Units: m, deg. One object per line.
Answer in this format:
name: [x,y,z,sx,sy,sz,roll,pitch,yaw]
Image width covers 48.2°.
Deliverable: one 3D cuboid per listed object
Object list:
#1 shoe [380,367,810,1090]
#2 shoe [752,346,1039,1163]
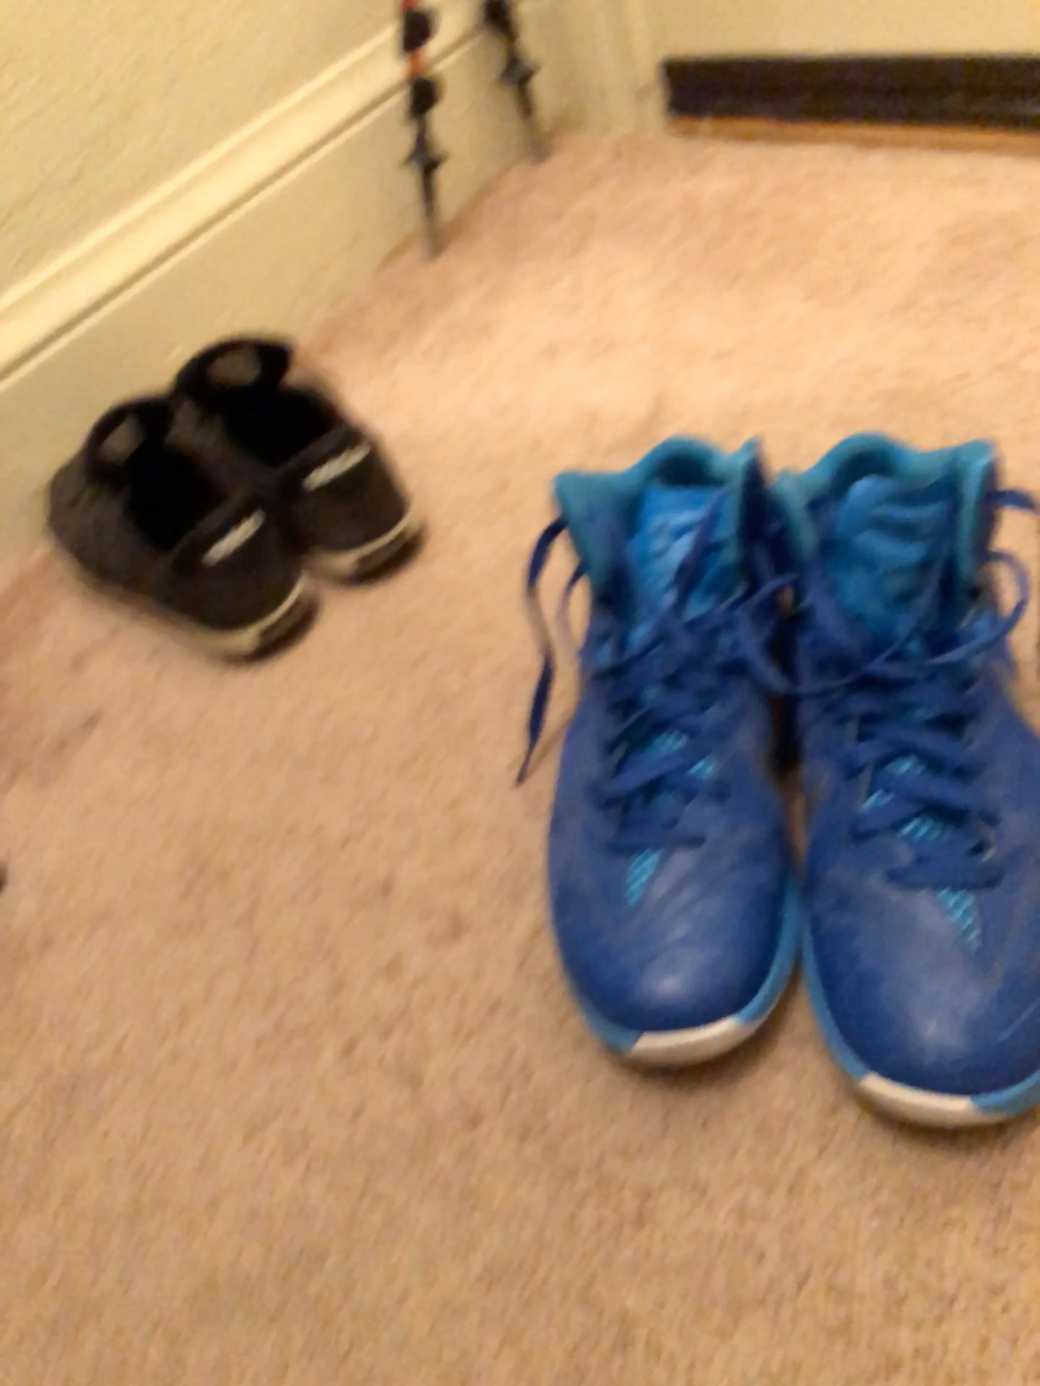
shoe: [0.054,0.005,0.503,0.120,0.134,0.279,-3,48,19]
shoe: [0.163,0.012,0.450,0.122,0.134,0.281,-5,47,18]
